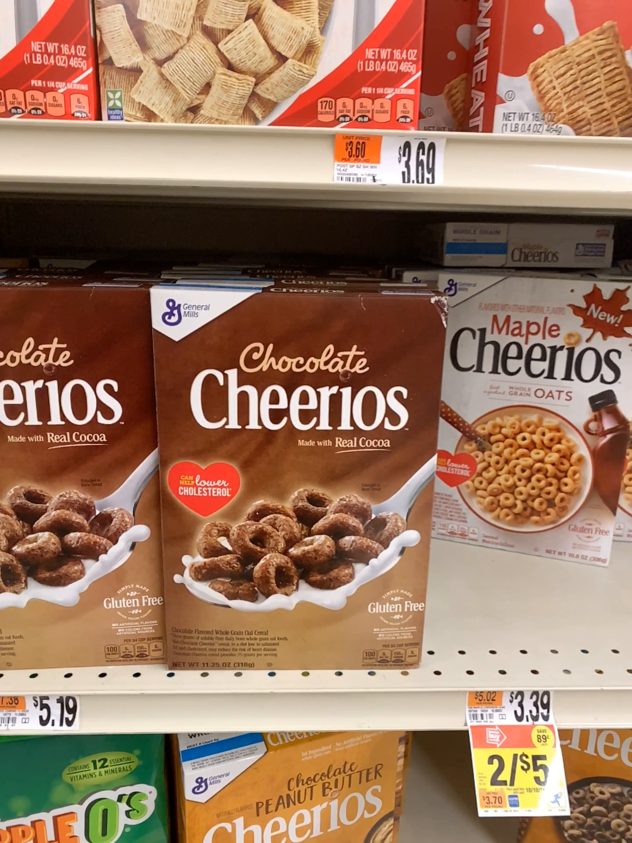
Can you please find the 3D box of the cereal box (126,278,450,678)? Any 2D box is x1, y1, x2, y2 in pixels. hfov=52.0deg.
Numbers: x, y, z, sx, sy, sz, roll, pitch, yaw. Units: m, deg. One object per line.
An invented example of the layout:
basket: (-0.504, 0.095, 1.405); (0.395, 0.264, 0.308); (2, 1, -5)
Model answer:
cereal box: (-0.022, 0.049, 0.493); (0.210, 0.299, 0.060); (1, 17, -2)
